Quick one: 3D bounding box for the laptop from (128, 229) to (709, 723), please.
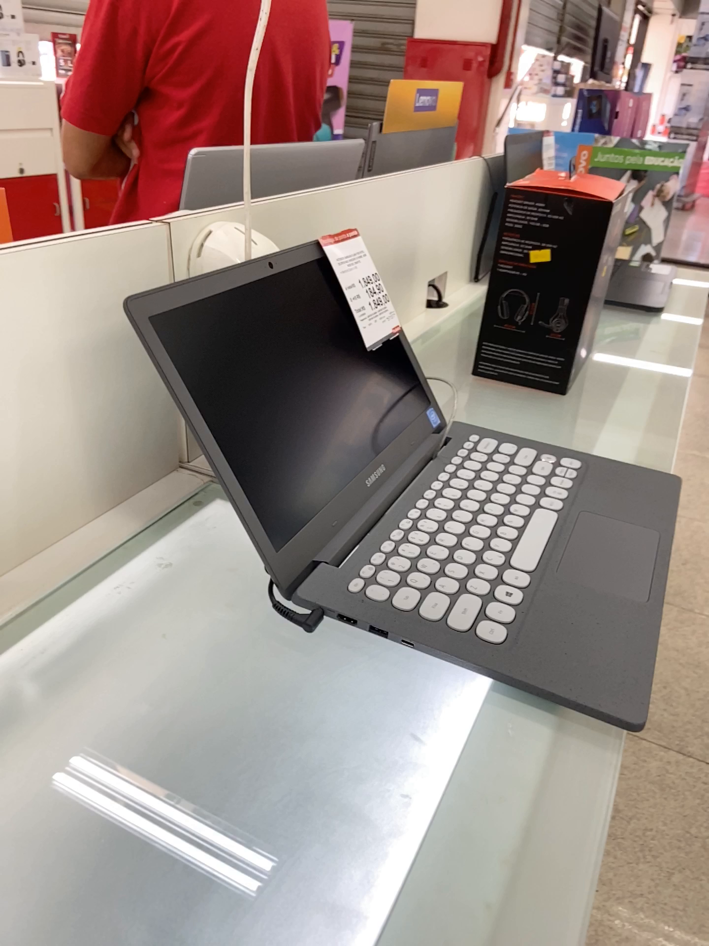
[{"bbox_3d":[0.080,-0.050,0.550,0.340,0.172,0.326,16,30,21],"label":"laptop"}]
